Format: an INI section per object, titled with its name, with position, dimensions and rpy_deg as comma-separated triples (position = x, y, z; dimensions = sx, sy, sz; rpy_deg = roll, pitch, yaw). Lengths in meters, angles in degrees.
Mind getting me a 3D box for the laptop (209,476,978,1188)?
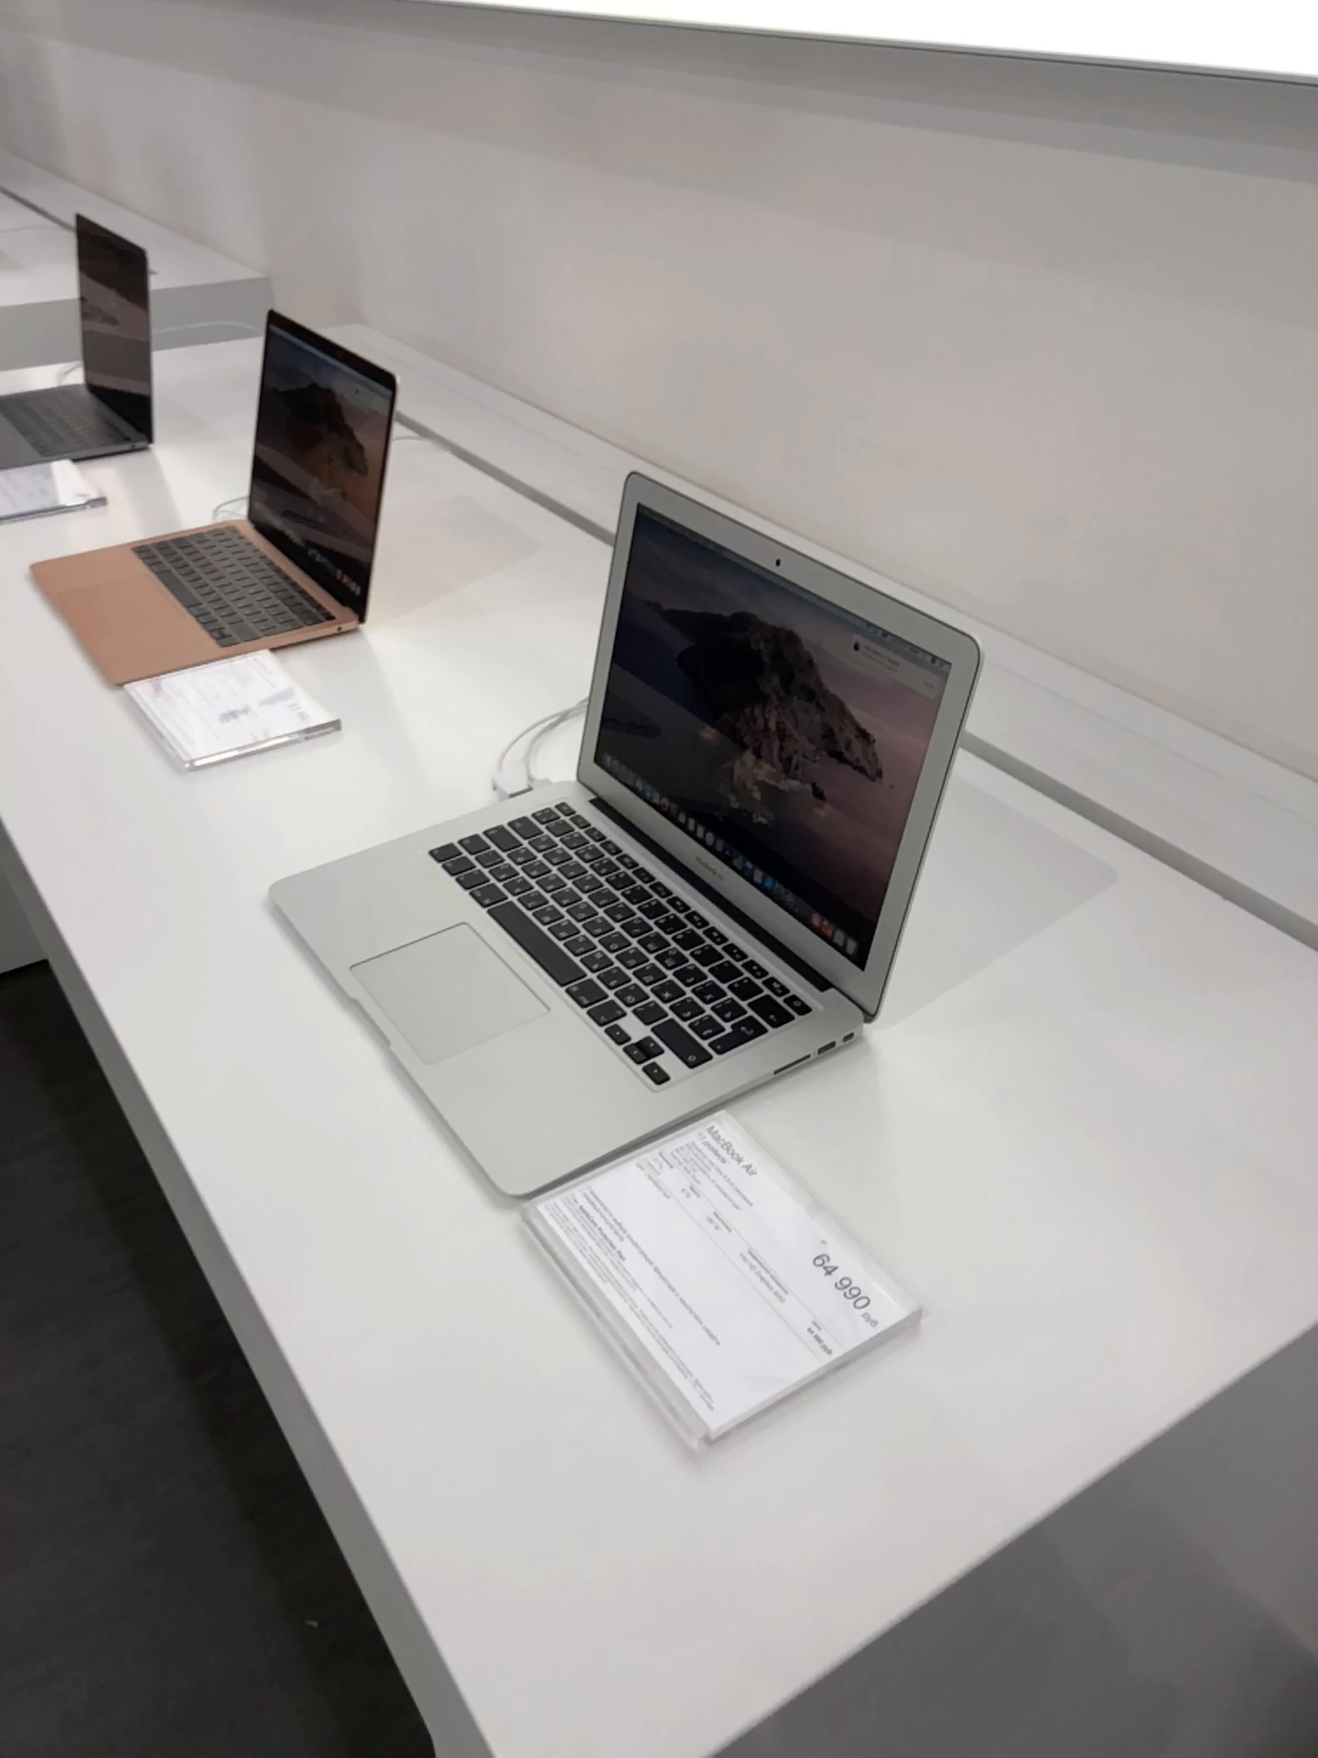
[laptop]
position = -0.047, -0.054, 0.794
dimensions = 0.270, 0.207, 0.316
rpy_deg = -20, 38, -27
